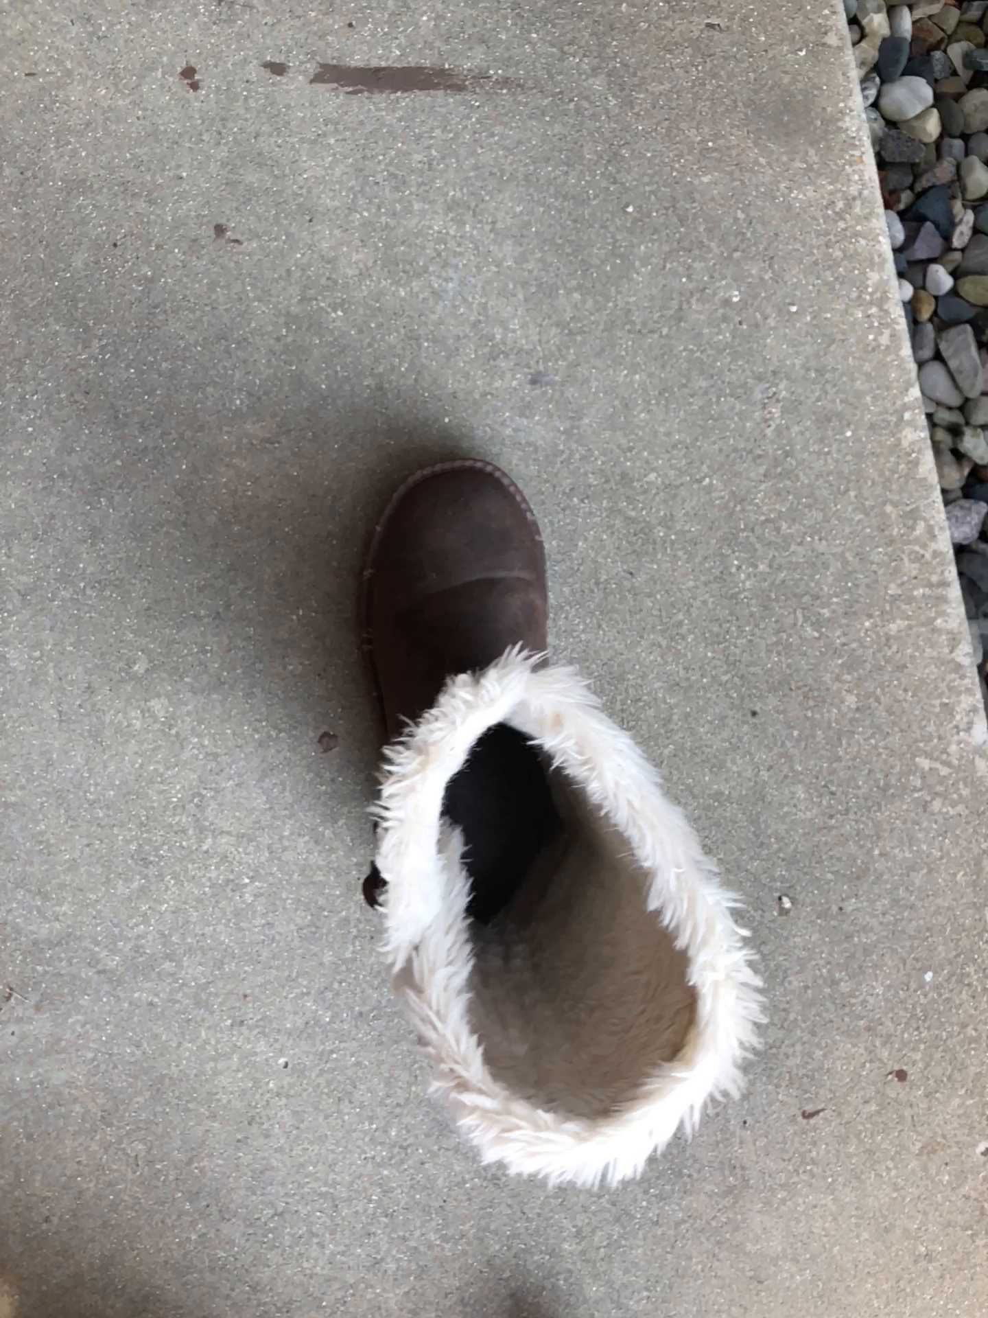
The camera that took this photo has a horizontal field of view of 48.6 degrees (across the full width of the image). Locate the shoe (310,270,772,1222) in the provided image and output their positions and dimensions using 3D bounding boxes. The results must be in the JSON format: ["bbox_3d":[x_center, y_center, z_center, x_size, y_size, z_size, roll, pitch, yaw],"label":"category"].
[{"bbox_3d":[0.000,0.026,0.492,0.120,0.320,0.280,-5,90,-6],"label":"shoe"}]
